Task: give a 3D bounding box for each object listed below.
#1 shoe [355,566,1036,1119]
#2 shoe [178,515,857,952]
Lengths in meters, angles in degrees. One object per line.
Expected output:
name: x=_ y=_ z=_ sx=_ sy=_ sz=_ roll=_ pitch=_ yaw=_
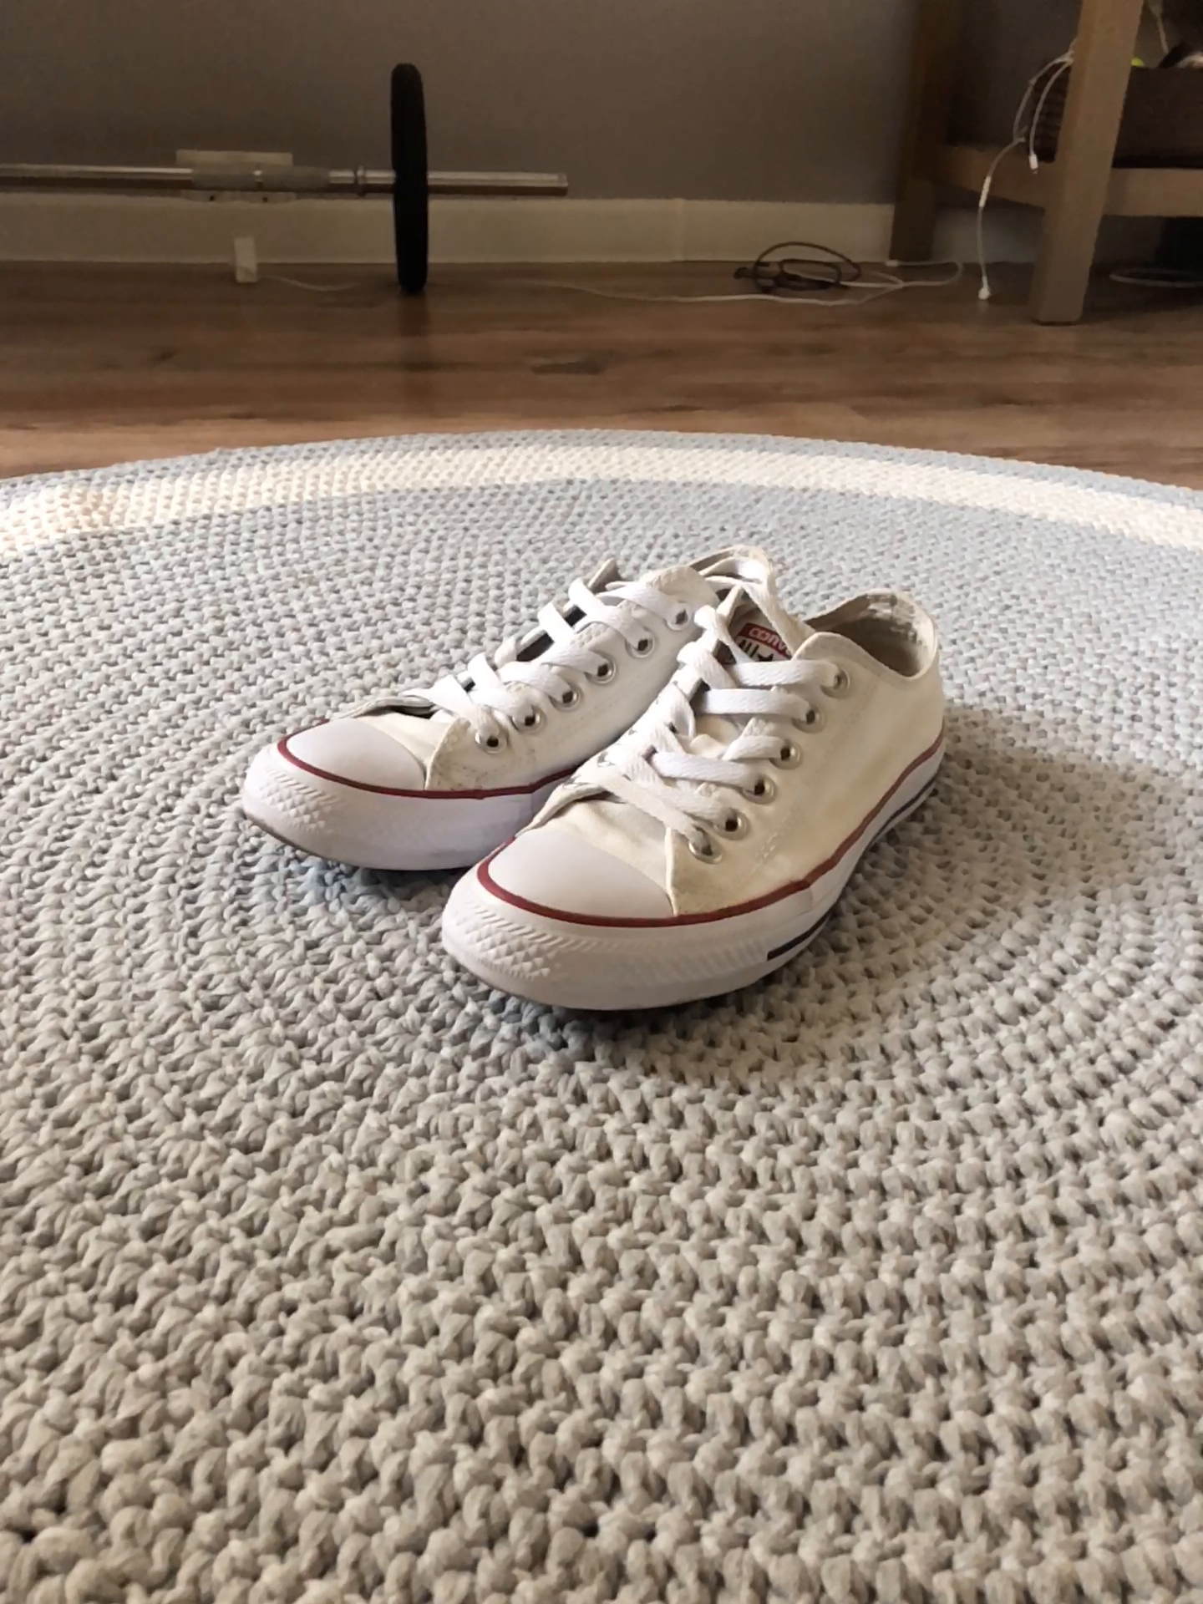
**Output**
shoe: x=0.044 y=-0.006 z=0.446 sx=0.100 sy=0.070 sz=0.241 roll=22 pitch=34 yaw=32
shoe: x=-0.020 y=-0.041 z=0.509 sx=0.100 sy=0.070 sz=0.248 roll=27 pitch=37 yaw=37
